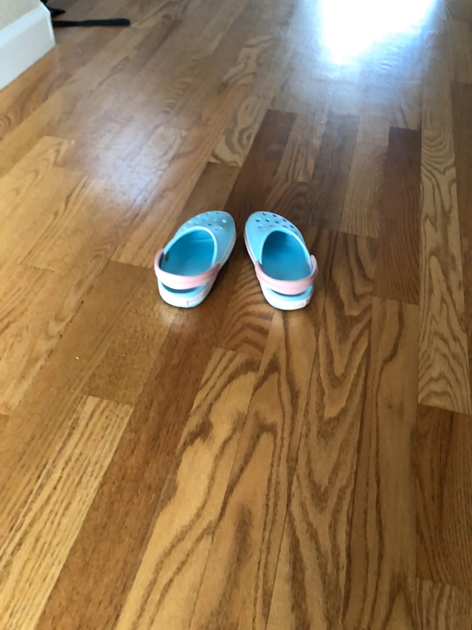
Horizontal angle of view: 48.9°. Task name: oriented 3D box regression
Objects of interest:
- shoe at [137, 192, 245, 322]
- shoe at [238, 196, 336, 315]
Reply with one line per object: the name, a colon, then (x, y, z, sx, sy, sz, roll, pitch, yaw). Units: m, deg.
shoe: (-0.051, -0.078, 0.656, 0.083, 0.057, 0.166, 13, 48, 8)
shoe: (0.058, -0.080, 0.659, 0.083, 0.048, 0.166, -5, 48, -8)
